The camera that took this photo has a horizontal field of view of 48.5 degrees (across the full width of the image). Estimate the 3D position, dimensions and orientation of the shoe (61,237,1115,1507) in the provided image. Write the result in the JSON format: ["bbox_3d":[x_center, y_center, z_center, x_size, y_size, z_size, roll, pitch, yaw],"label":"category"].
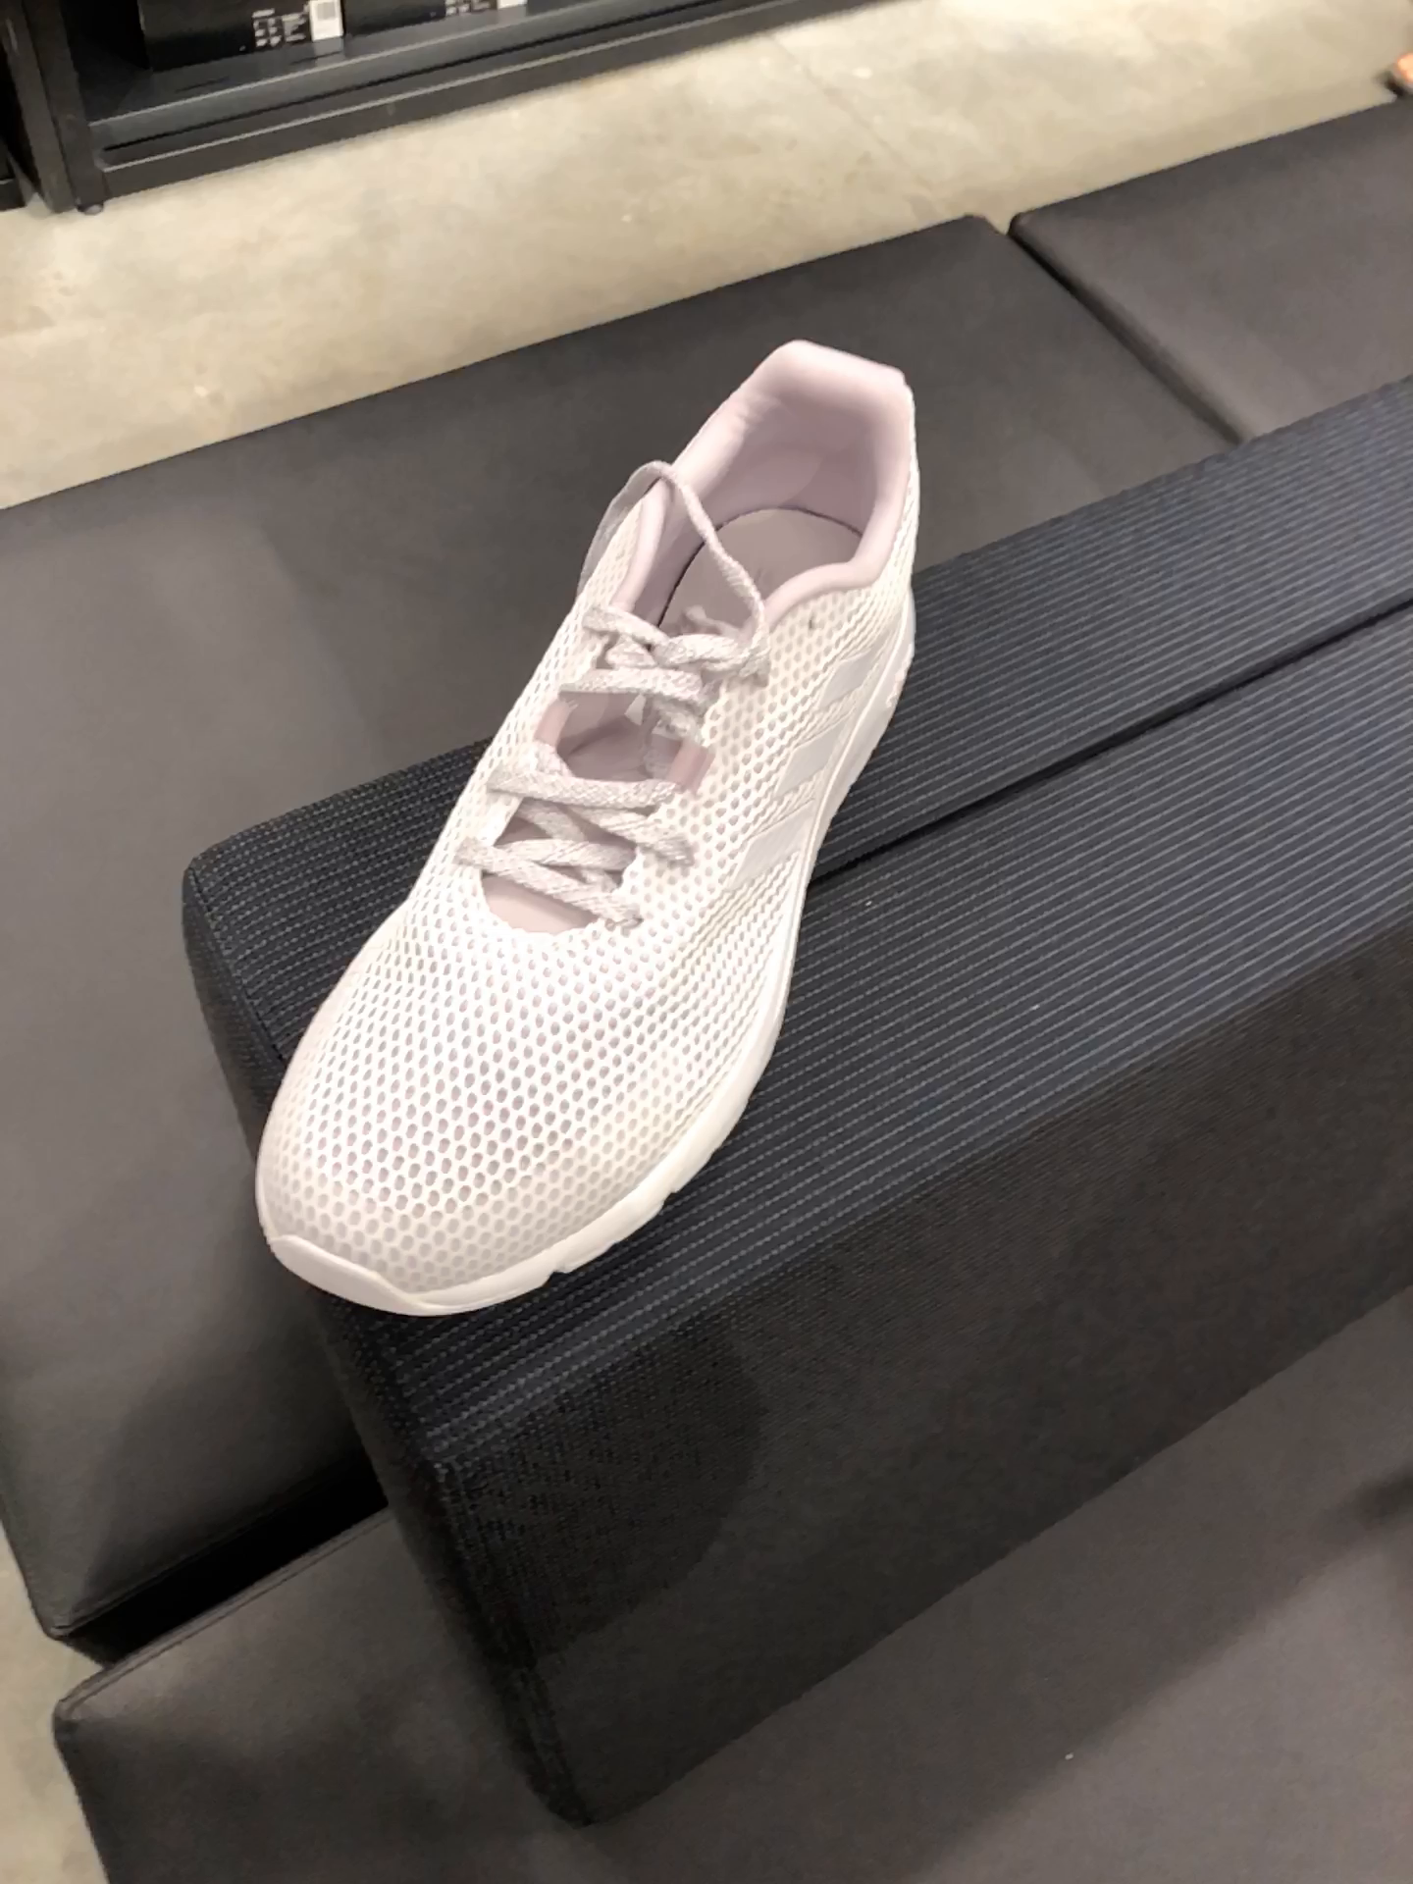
[{"bbox_3d":[-0.011,-0.027,0.407,0.120,0.140,0.280,23,59,9],"label":"shoe"}]
